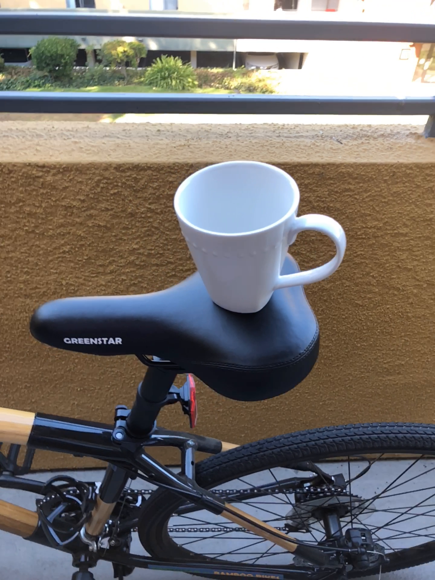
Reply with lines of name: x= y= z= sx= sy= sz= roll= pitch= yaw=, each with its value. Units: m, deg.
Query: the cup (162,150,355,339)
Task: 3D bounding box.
cup: x=0.034 y=-0.039 z=0.395 sx=0.130 sy=0.100 sz=0.090 roll=11 pitch=44 yaw=9
